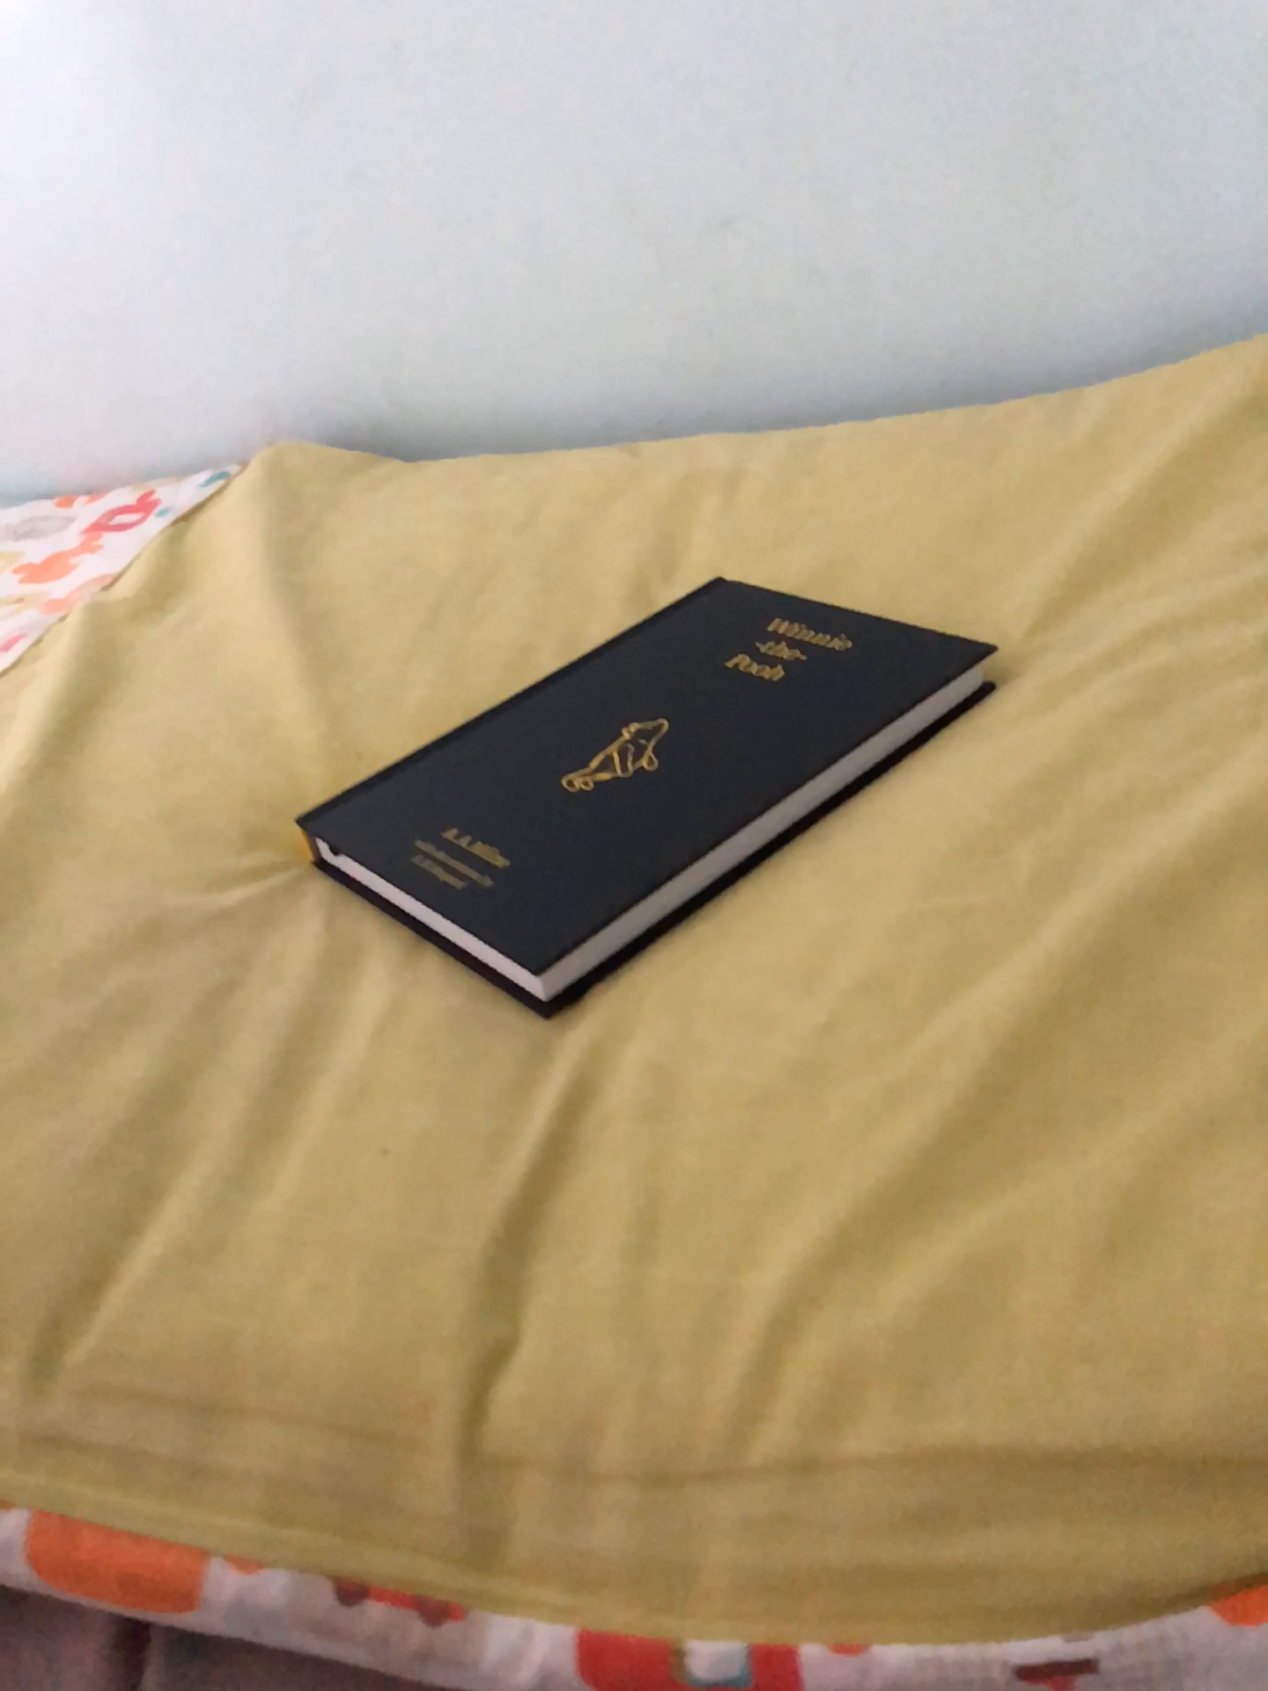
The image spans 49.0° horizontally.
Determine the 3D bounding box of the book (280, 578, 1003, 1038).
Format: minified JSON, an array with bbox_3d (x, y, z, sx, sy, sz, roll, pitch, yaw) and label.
[{"bbox_3d":[0.004,-0.030,0.506,0.221,0.020,0.150,-34,38,-28],"label":"book"}]
